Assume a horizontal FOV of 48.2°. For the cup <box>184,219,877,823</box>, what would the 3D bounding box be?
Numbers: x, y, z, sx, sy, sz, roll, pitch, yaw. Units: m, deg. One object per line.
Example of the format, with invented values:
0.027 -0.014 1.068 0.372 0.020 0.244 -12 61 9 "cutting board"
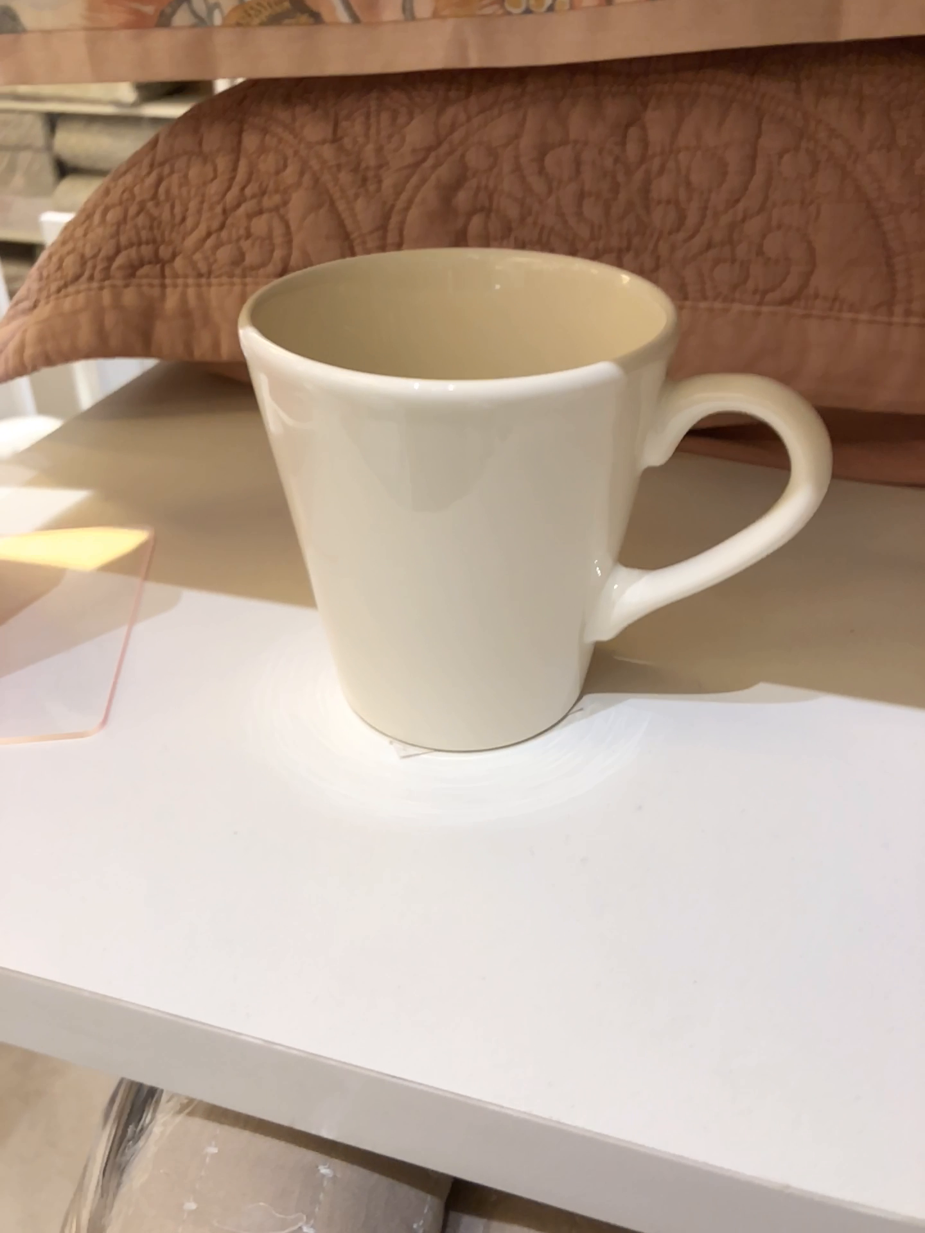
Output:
0.014 -0.024 0.225 0.110 0.099 0.081 3 33 6 "cup"
